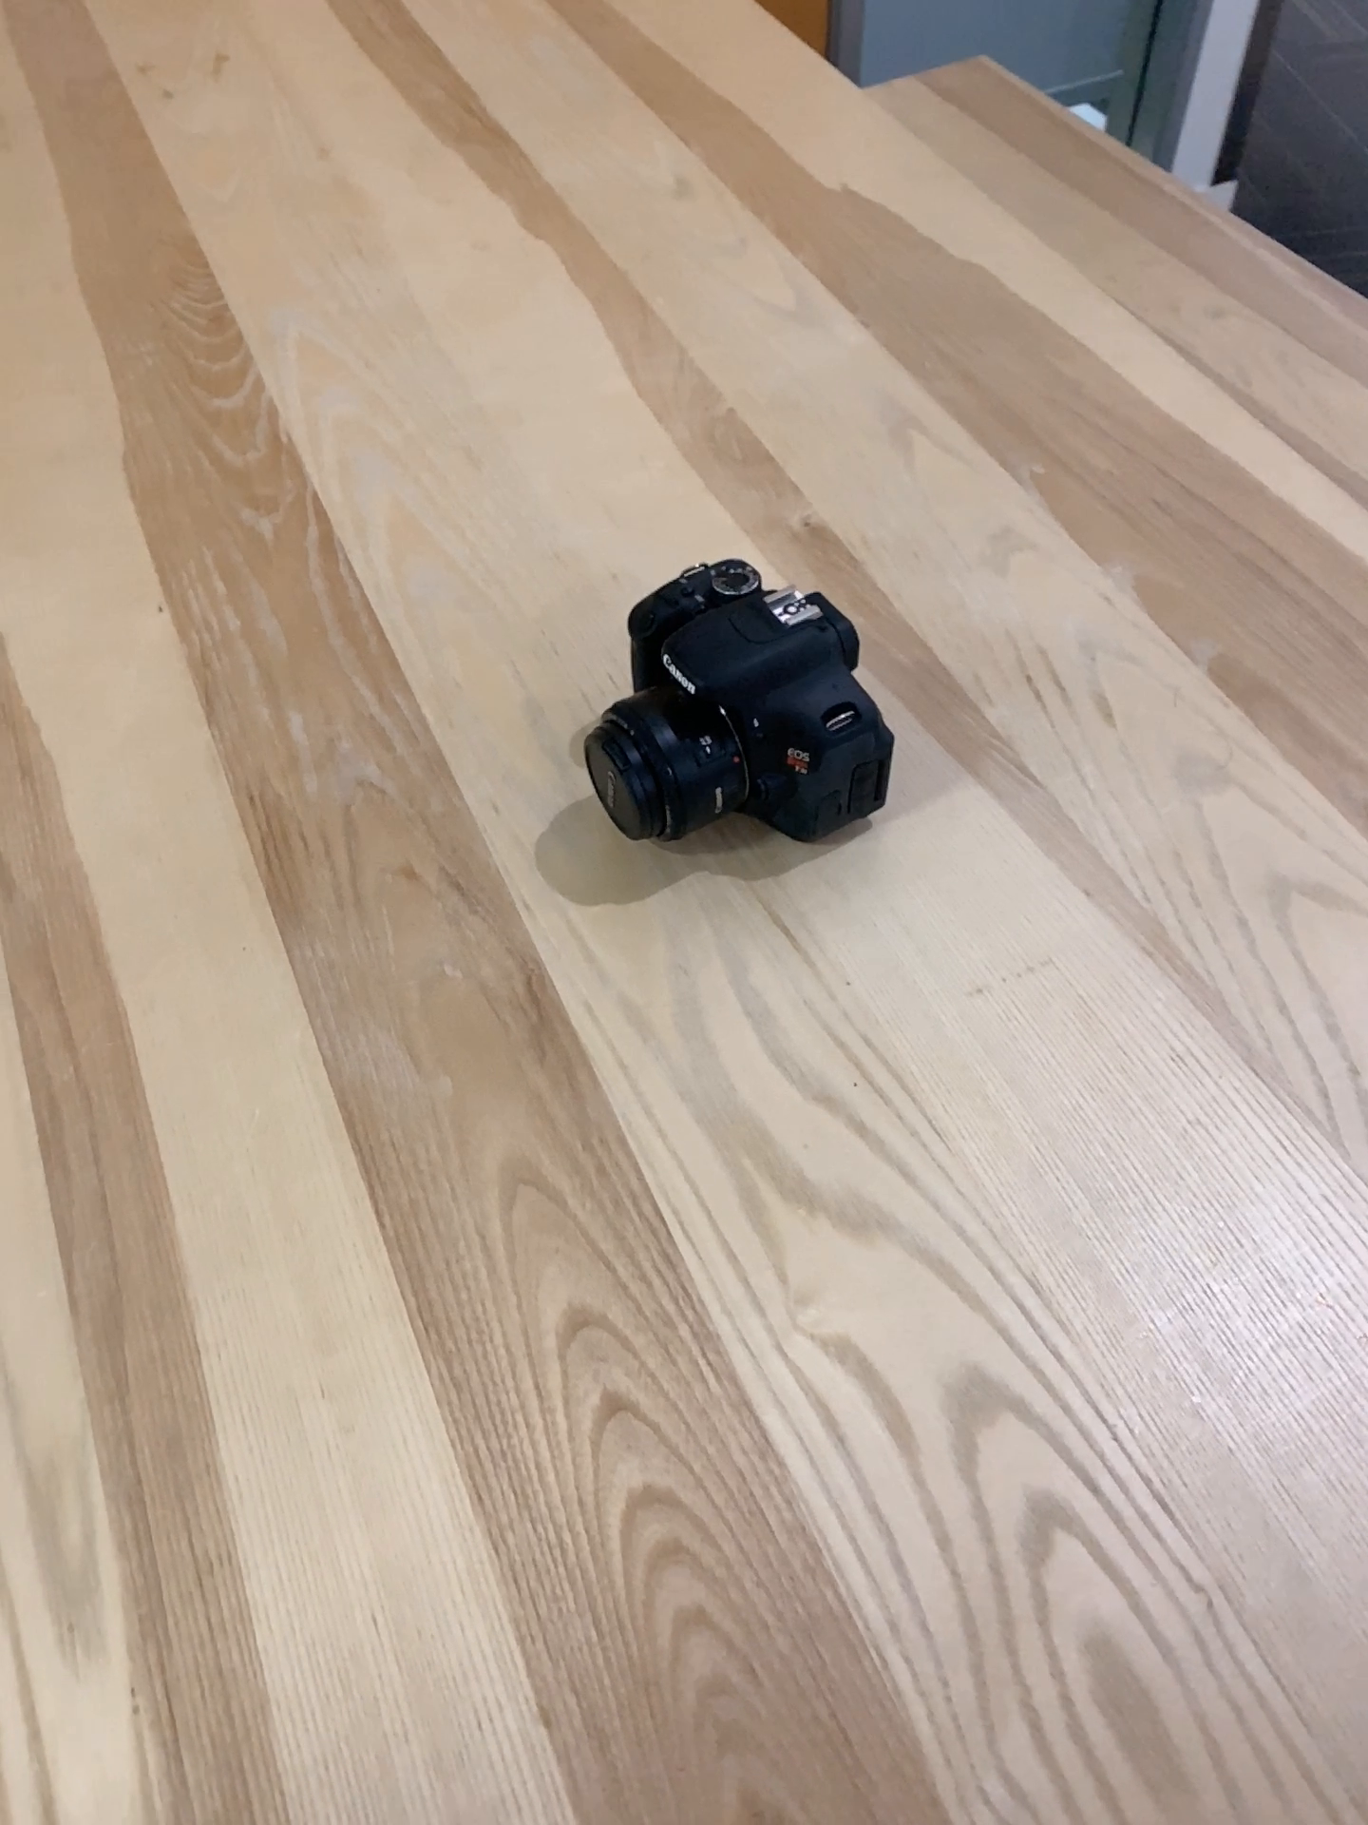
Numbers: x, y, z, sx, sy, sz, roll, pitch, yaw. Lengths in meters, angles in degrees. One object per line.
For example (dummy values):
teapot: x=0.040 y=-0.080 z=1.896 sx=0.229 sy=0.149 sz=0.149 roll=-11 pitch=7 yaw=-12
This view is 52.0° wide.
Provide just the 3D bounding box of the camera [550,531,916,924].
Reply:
camera: x=0.017 y=-0.089 z=0.655 sx=0.114 sy=0.101 sz=0.120 roll=-24 pitch=55 yaw=-24
